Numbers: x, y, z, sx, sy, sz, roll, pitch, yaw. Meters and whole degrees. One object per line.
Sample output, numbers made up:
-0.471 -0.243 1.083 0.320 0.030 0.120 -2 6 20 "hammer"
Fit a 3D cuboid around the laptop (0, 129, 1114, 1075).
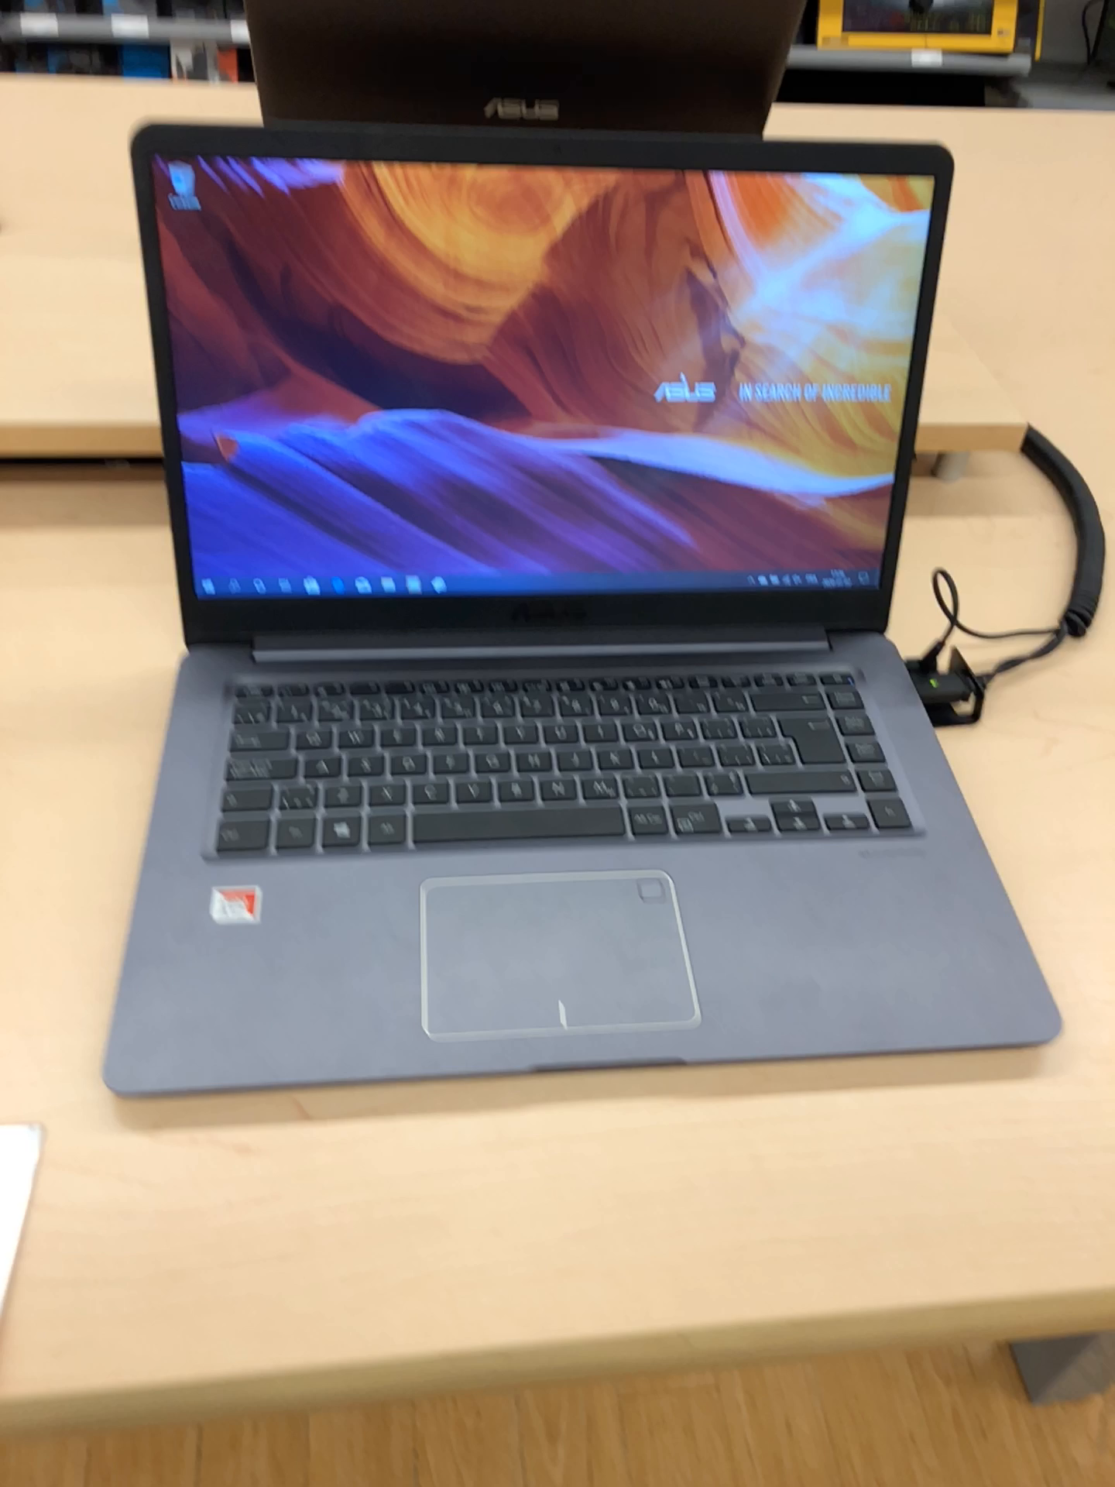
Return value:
0.008 -0.073 0.504 0.361 0.223 0.319 -1 44 -7 "laptop"
